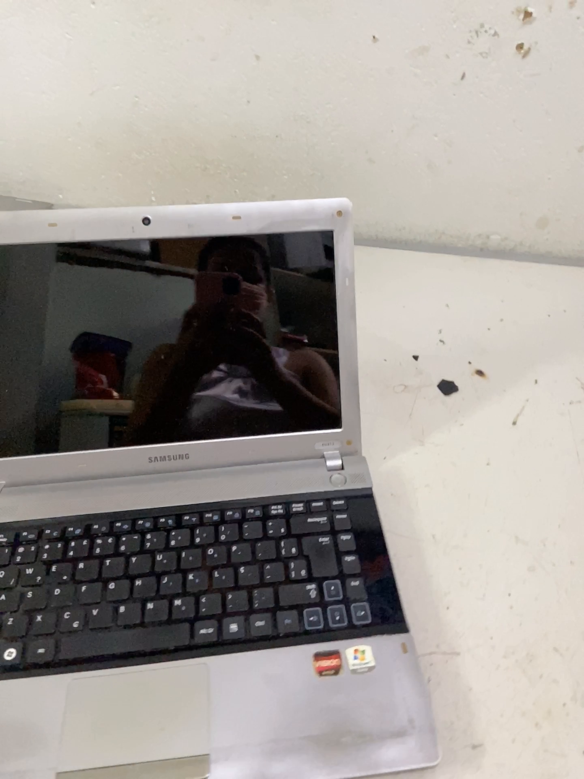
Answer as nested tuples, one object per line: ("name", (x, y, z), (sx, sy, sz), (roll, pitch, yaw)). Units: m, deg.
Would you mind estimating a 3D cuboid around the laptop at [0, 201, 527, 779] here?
("laptop", (-0.101, 0.044, 0.415), (0.342, 0.180, 0.368), (-4, 43, -5))
